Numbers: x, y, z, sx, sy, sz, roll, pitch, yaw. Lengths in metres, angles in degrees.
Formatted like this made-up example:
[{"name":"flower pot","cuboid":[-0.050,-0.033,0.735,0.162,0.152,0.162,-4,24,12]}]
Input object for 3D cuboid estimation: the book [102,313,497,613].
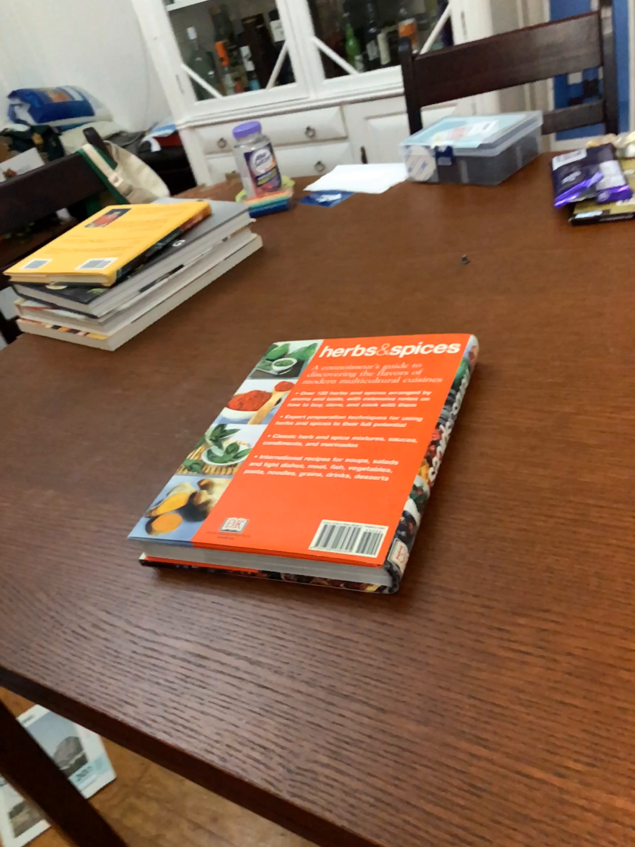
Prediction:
[{"name":"book","cuboid":[0.003,0.007,0.531,0.210,0.040,0.271,1,38,27]}]
